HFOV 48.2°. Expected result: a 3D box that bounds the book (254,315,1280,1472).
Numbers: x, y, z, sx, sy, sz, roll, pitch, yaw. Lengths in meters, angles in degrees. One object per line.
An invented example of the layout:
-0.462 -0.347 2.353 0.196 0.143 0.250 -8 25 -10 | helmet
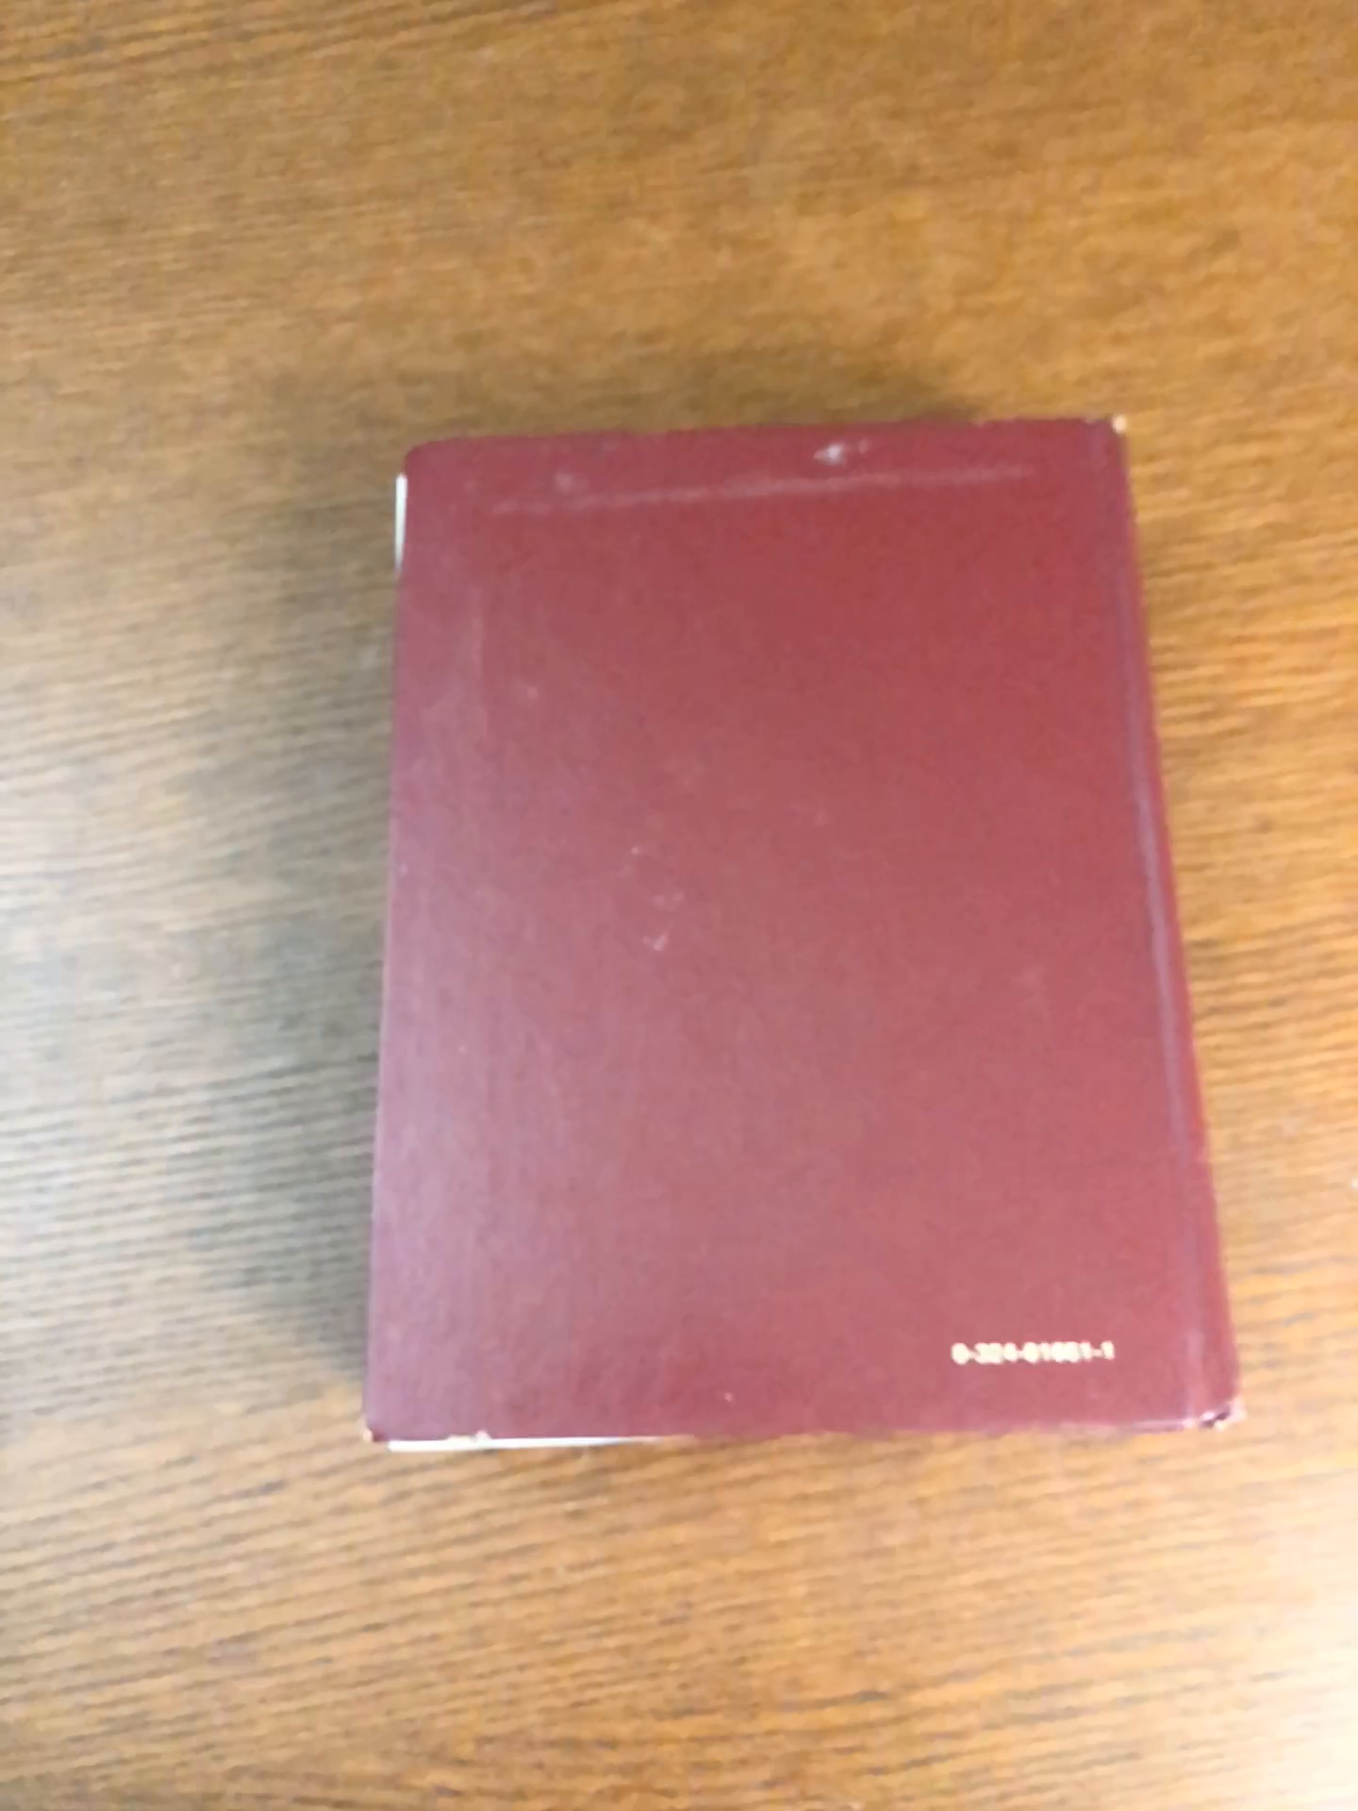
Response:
0.016 -0.008 0.403 0.220 0.070 0.290 -2 72 1 | book
